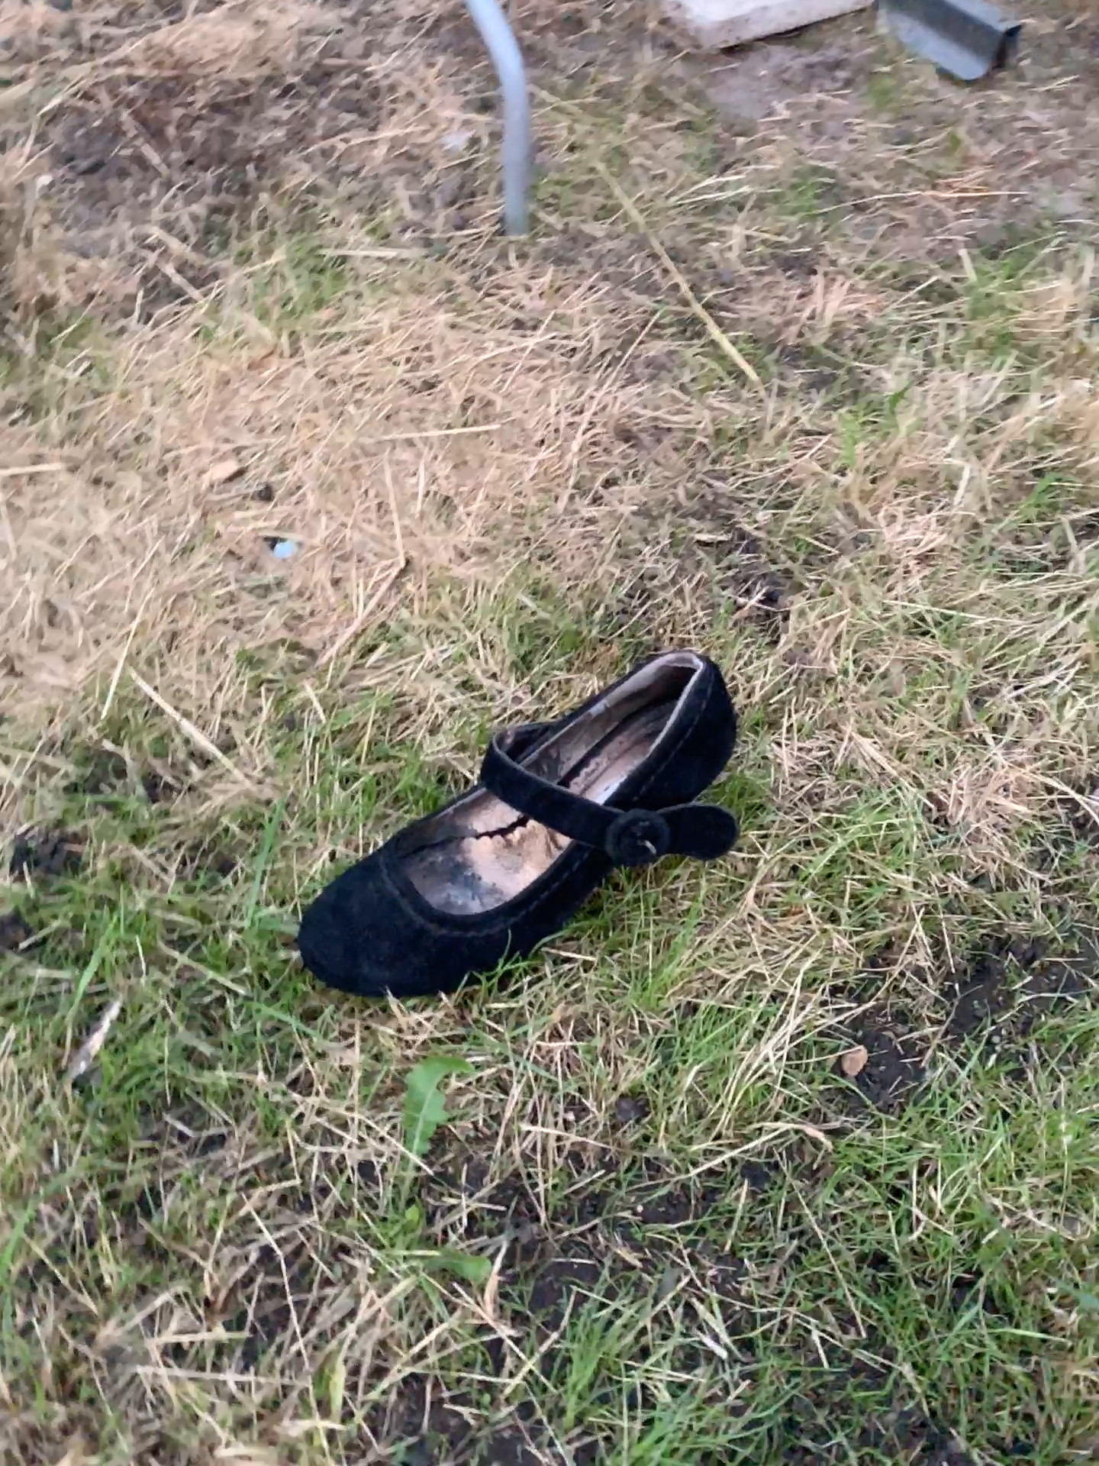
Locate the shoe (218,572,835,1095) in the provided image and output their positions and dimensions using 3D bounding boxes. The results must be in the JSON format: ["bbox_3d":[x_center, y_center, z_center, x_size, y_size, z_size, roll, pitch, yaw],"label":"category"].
[{"bbox_3d":[-0.008,0.044,0.536,0.250,0.109,0.111,-27,61,-18],"label":"shoe"}]
